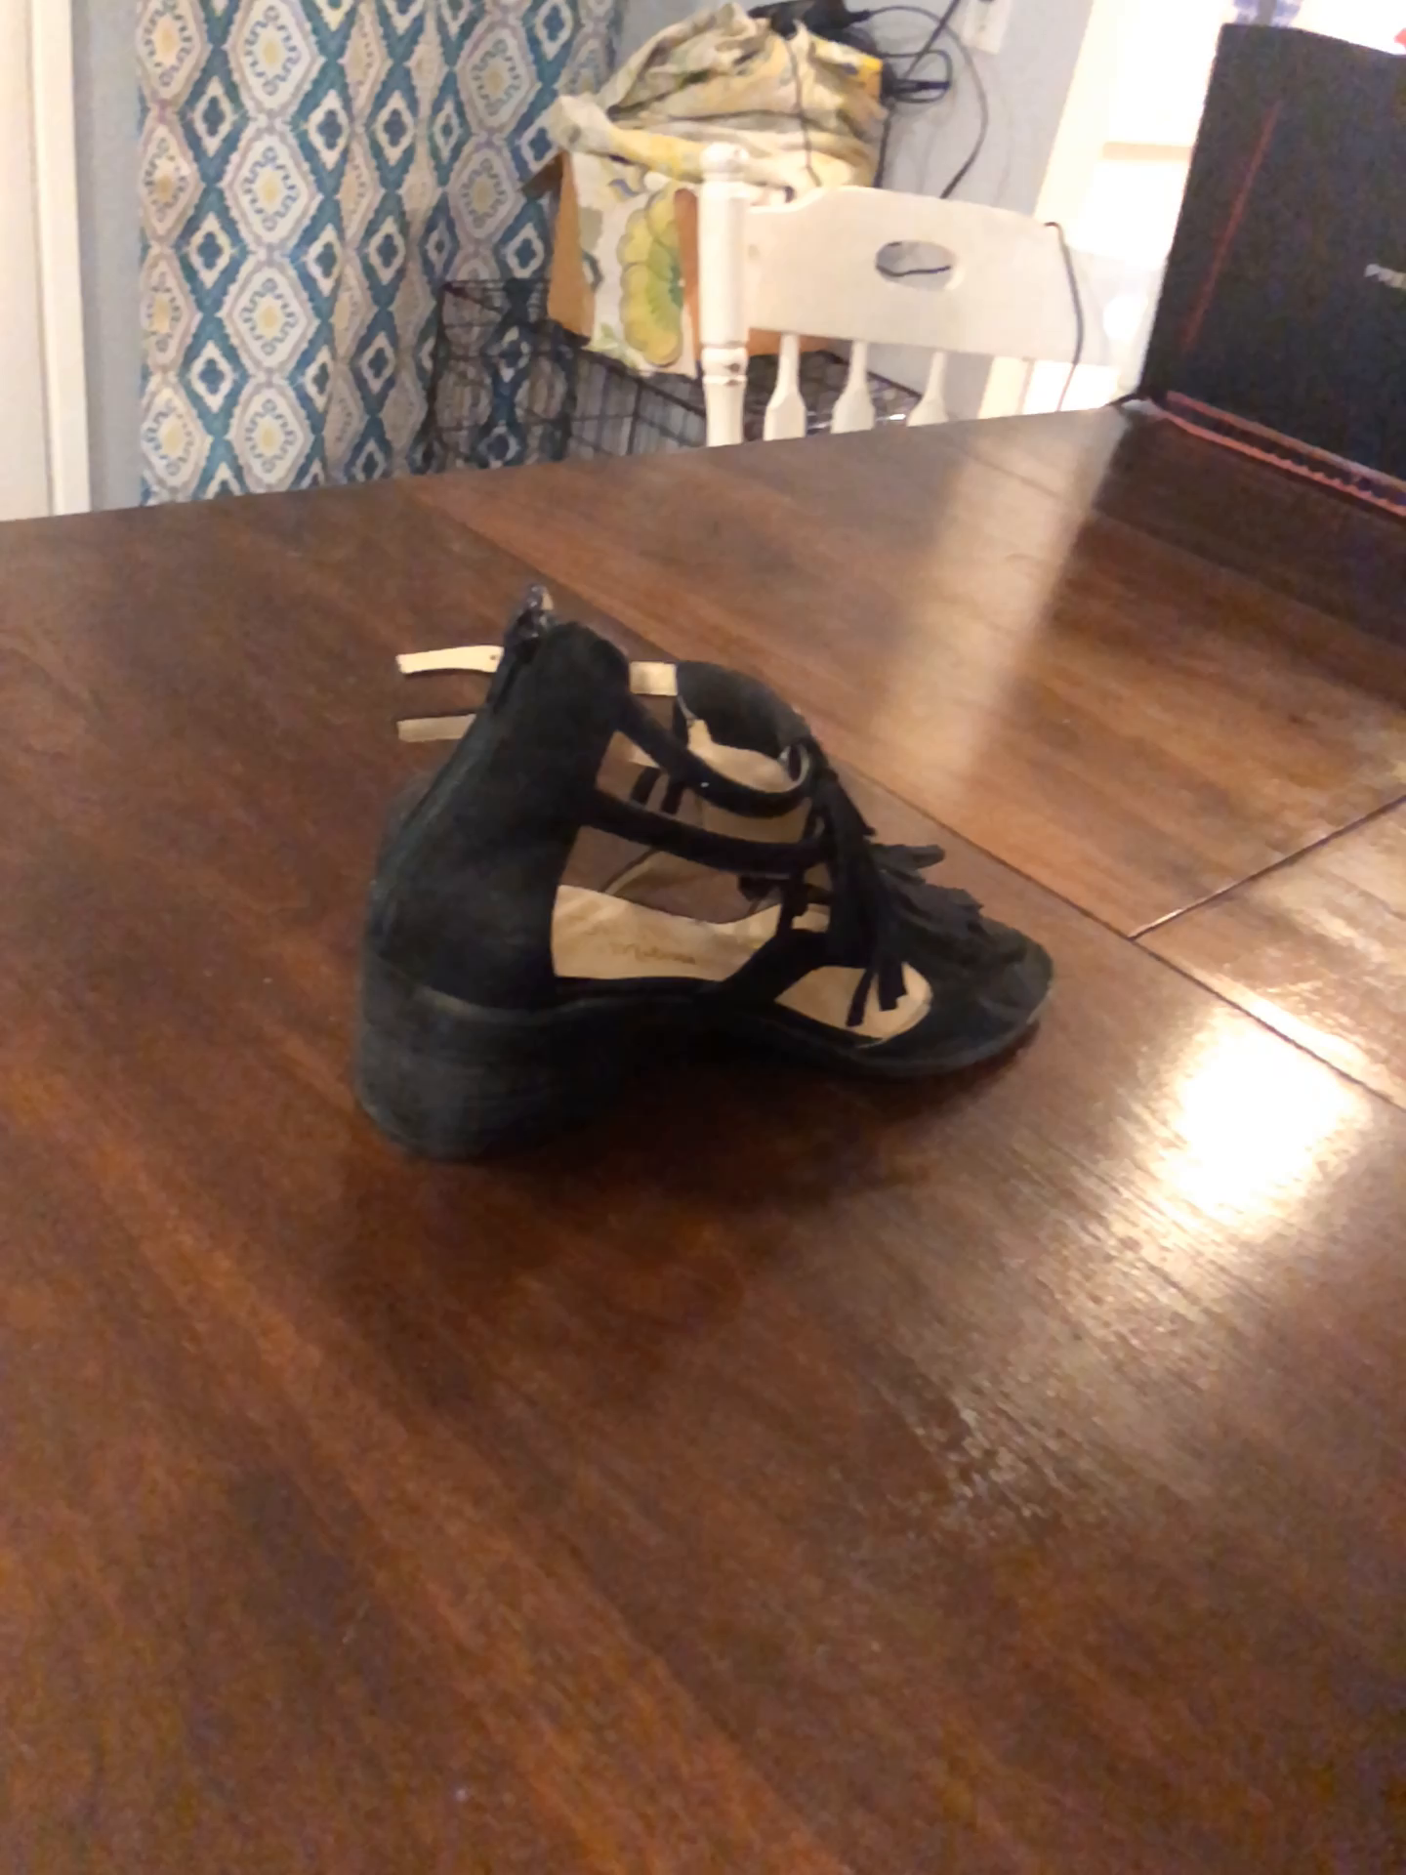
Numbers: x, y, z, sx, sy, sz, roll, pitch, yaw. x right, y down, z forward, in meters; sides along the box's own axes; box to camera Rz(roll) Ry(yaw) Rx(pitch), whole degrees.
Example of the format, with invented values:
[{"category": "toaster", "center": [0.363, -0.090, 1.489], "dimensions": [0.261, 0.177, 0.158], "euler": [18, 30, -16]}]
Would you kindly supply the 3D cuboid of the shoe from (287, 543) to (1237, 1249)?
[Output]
[{"category": "shoe", "center": [0.013, -0.024, 0.461], "dimensions": [0.240, 0.149, 0.100], "euler": [-9, 39, -30]}]
